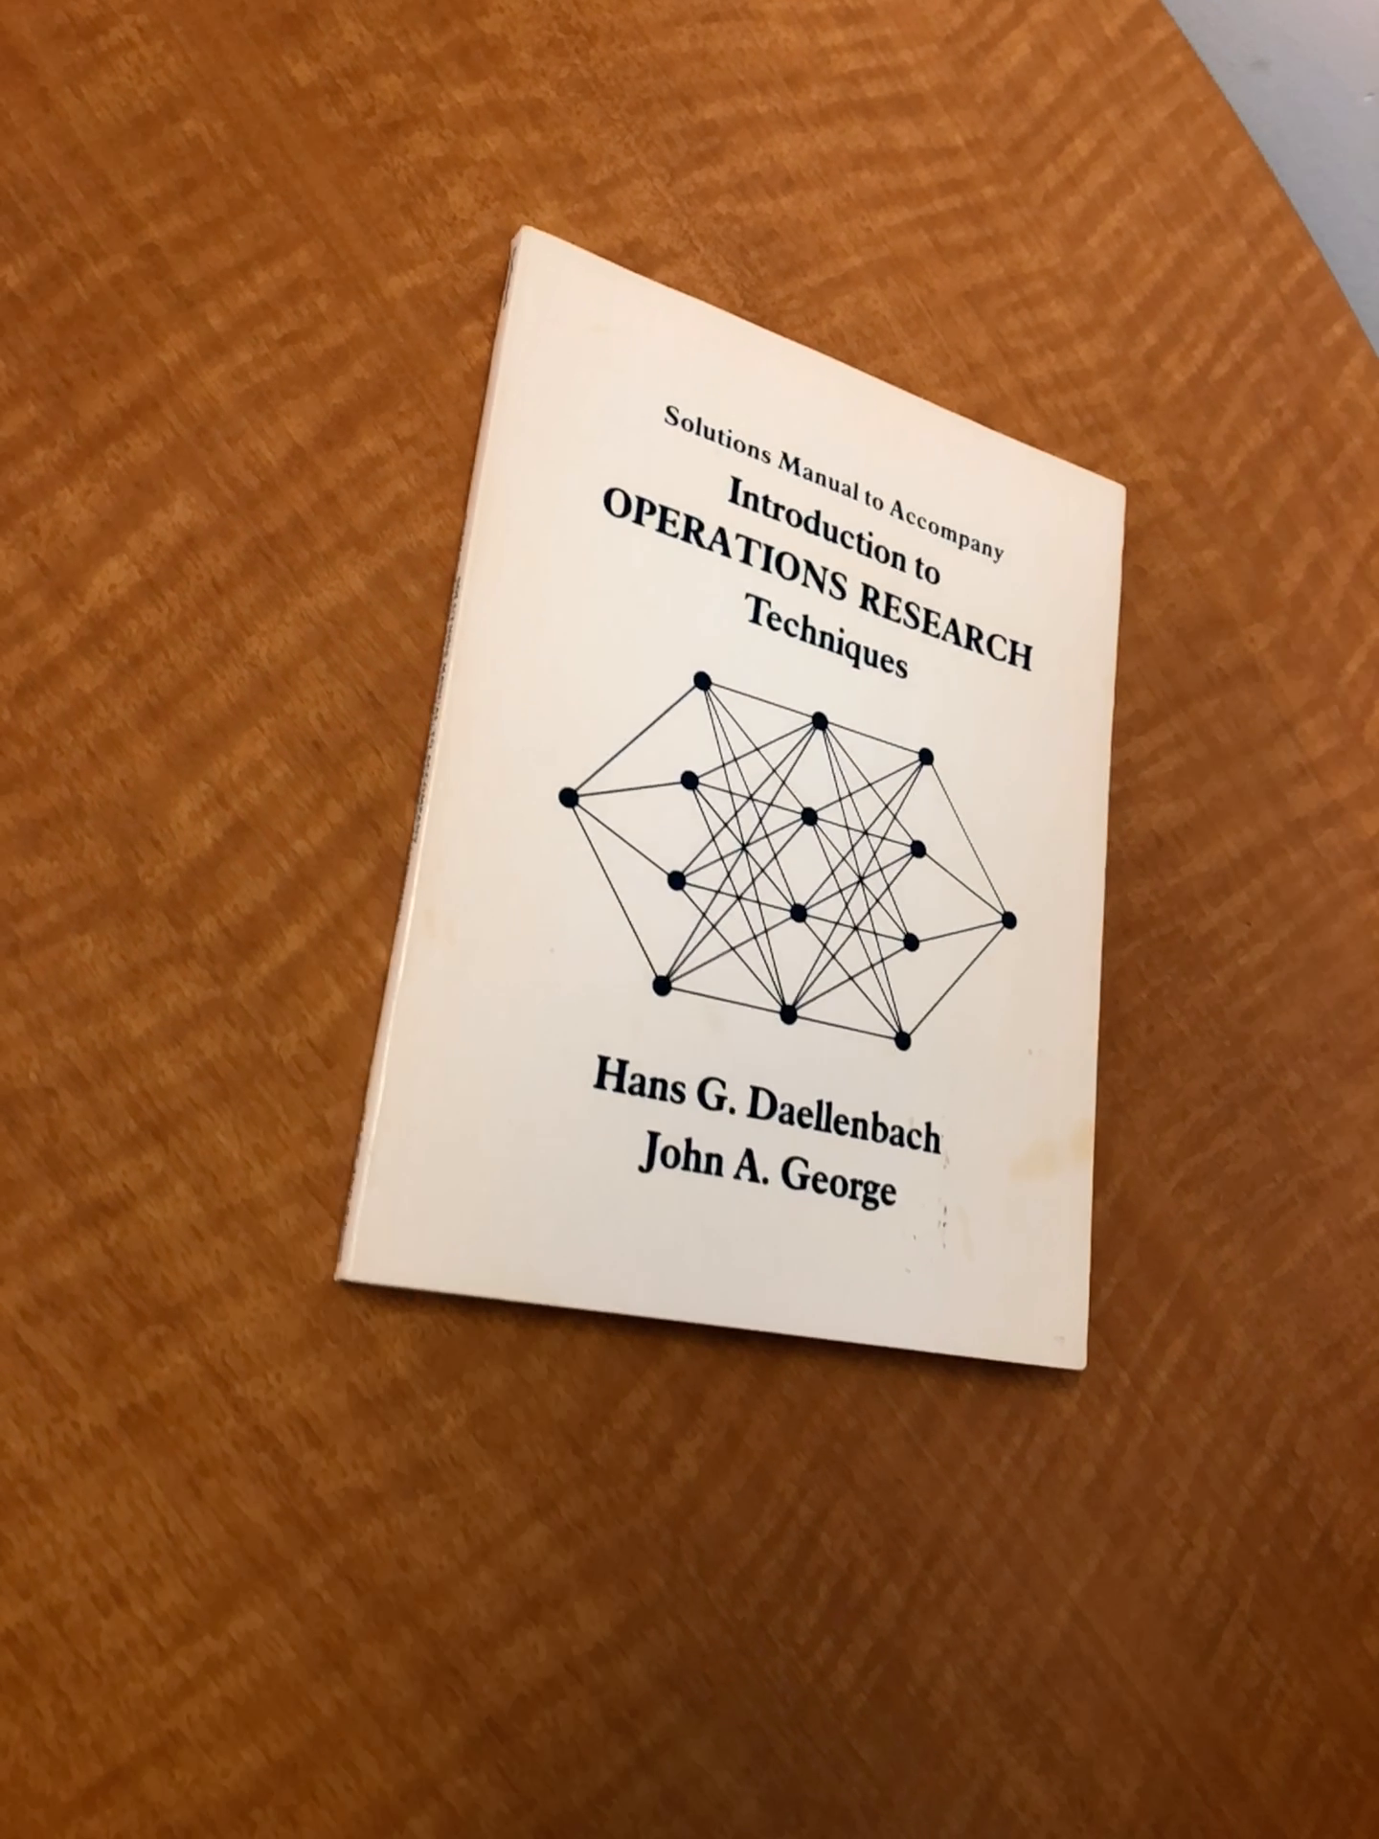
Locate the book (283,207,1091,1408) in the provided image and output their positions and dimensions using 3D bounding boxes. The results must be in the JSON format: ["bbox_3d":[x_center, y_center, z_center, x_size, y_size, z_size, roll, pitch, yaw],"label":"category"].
[{"bbox_3d":[0.017,-0.021,0.362,0.180,0.020,0.250,14,73,-26],"label":"book"}]
